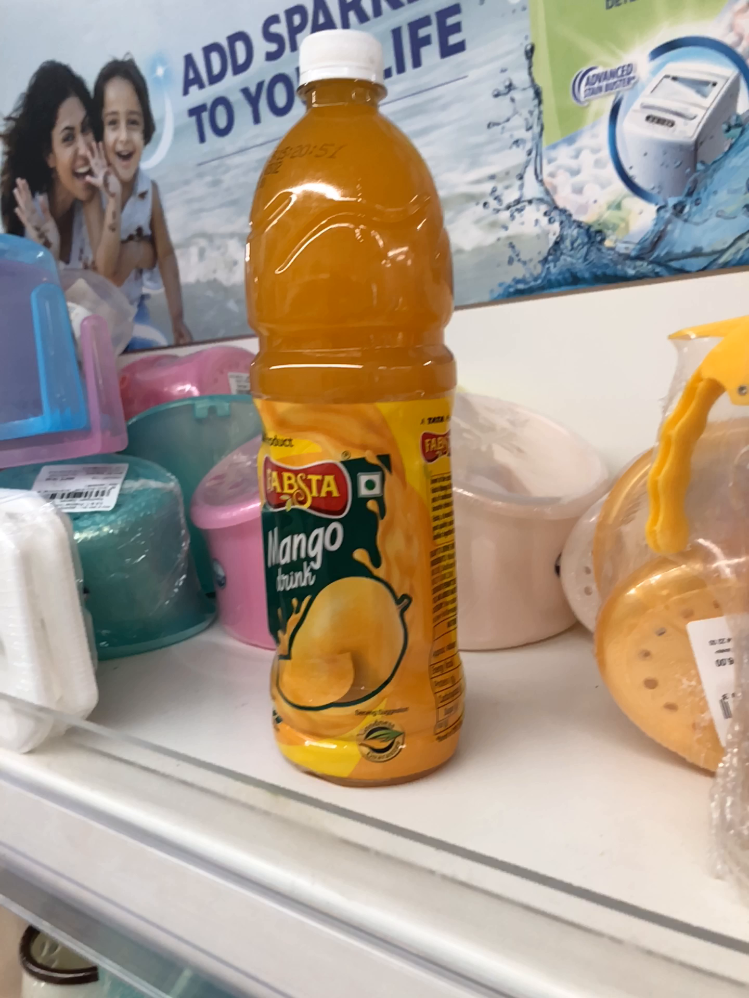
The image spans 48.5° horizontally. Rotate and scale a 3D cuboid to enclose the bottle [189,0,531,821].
[{"bbox_3d":[-0.001,-0.029,0.316,0.090,0.259,0.080,7,14,34],"label":"bottle"}]
